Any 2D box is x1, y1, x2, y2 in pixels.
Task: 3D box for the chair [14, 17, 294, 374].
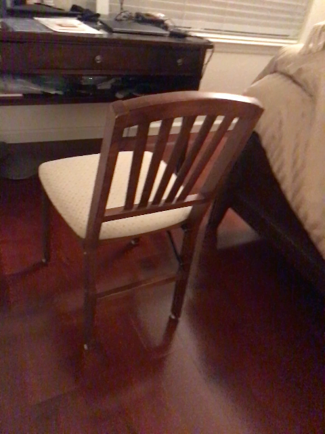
[{"bbox_3d":[-0.141,-0.108,1.239,0.532,0.893,0.723,-10,40,-27],"label":"chair"}]
